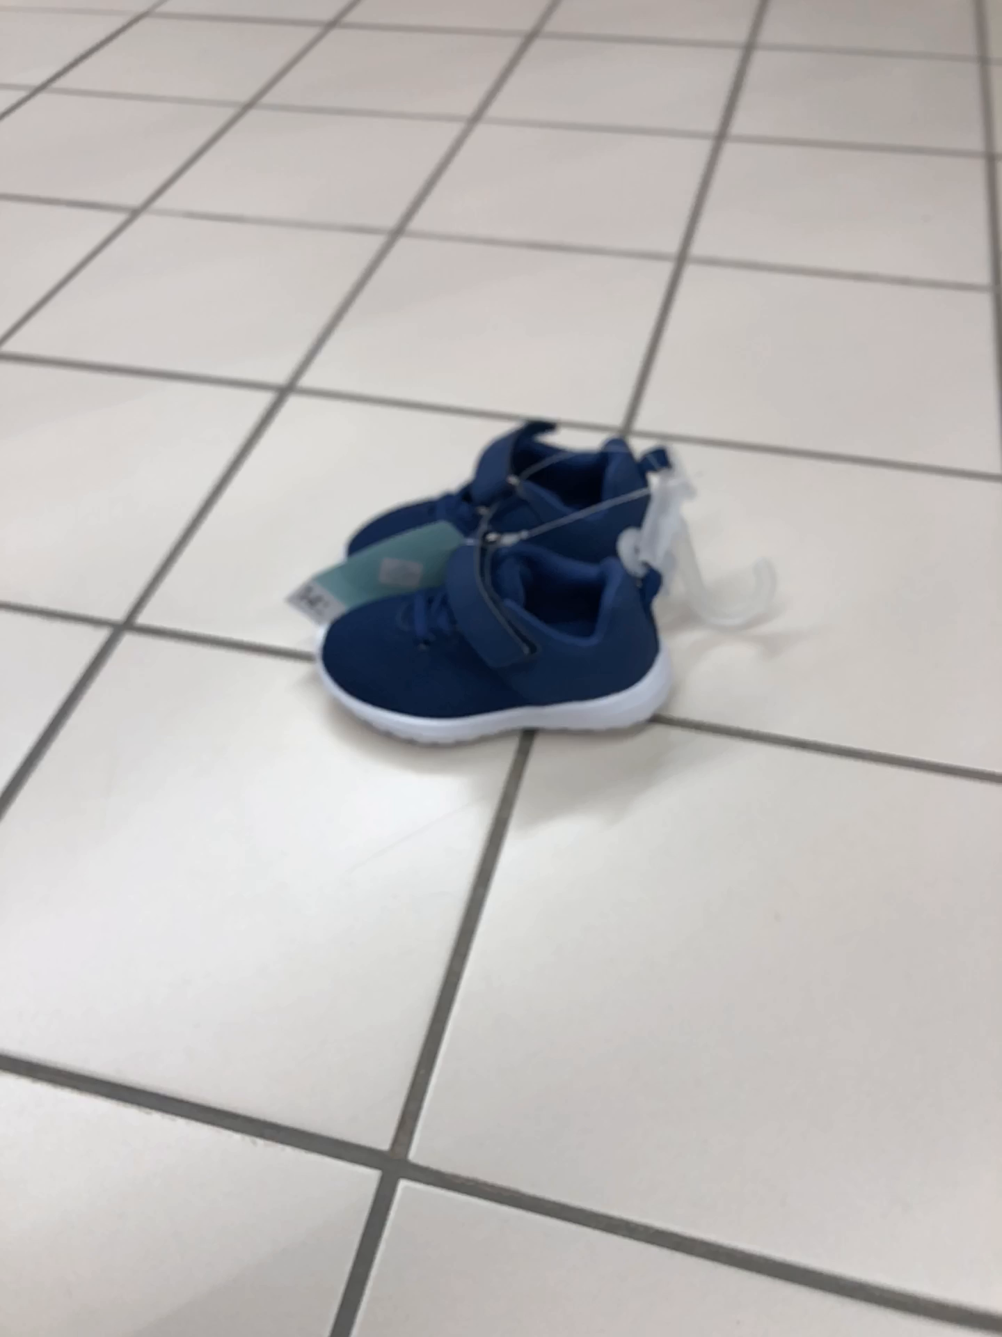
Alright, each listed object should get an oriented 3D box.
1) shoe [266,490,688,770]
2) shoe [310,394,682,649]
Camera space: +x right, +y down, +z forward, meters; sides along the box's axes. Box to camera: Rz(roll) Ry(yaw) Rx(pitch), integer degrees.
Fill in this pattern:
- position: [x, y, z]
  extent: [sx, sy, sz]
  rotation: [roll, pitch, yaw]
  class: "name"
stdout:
- position: [-0.005, -0.017, 0.473]
  extent: [0.160, 0.073, 0.082]
  rotation: [3, 47, 6]
  class: "shoe"
- position: [-0.003, -0.069, 0.523]
  extent: [0.157, 0.076, 0.075]
  rotation: [-5, 47, -2]
  class: "shoe"
